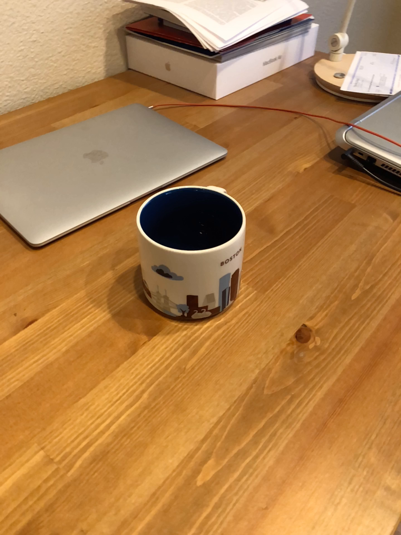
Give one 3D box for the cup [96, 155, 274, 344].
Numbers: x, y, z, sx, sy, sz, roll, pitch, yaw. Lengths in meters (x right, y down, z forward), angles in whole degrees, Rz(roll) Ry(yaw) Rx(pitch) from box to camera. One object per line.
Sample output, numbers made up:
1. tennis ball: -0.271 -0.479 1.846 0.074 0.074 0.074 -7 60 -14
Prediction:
1. cup: -0.008 -0.024 0.421 0.100 0.090 0.140 20 46 20
